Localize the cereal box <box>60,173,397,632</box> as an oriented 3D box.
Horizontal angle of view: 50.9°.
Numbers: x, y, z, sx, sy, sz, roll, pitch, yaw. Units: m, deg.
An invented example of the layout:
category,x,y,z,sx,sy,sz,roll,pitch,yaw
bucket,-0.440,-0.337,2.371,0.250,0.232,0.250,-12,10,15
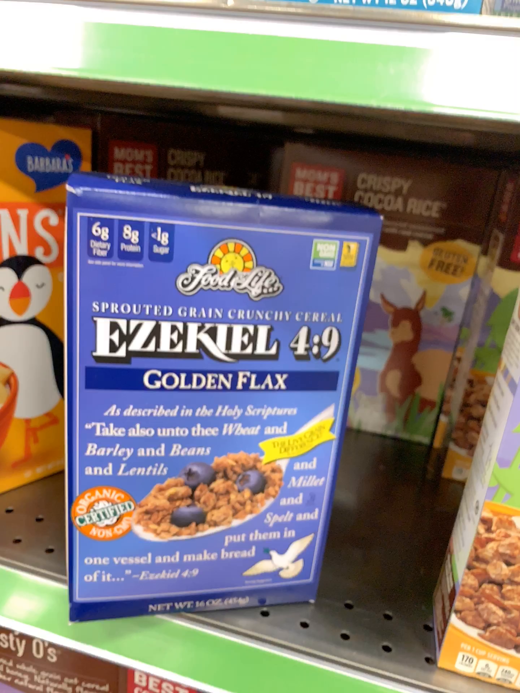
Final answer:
category,x,y,z,sx,sy,sz,roll,pitch,yaw
cereal box,-0.028,0.037,0.321,0.160,0.249,0.060,1,18,-14
